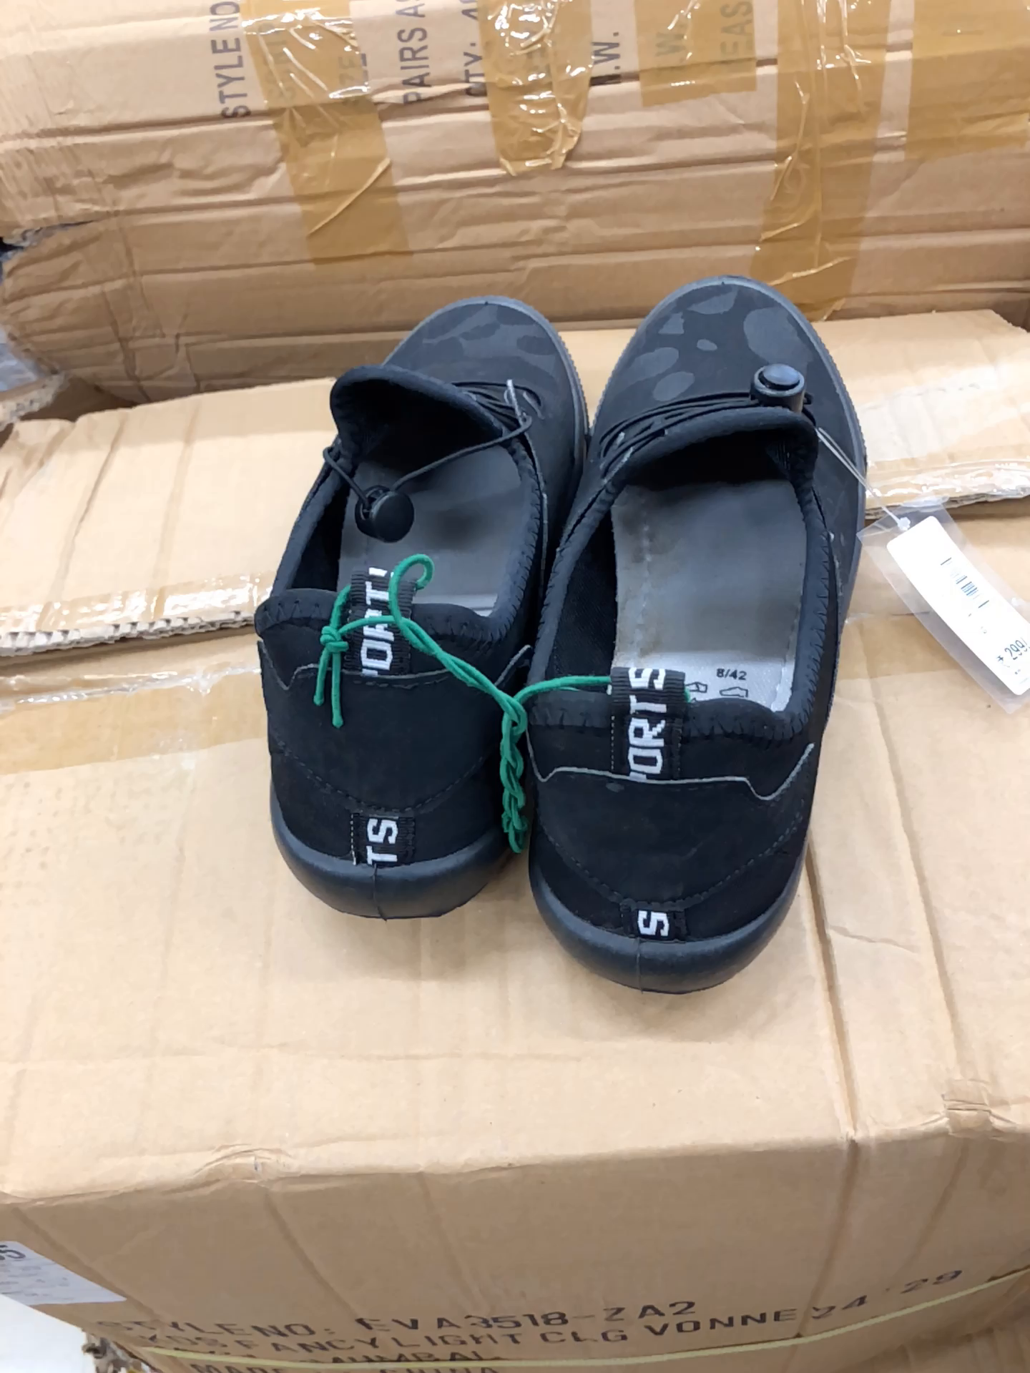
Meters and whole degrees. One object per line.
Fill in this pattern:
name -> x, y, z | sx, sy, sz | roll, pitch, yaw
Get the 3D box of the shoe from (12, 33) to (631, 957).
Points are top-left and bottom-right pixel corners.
shoe -> -0.028, -0.084, 0.388 | 0.120, 0.129, 0.312 | 1, 51, 8

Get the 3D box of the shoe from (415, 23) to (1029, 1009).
shoe -> 0.064, -0.078, 0.375 | 0.120, 0.129, 0.322 | 2, 51, 9
